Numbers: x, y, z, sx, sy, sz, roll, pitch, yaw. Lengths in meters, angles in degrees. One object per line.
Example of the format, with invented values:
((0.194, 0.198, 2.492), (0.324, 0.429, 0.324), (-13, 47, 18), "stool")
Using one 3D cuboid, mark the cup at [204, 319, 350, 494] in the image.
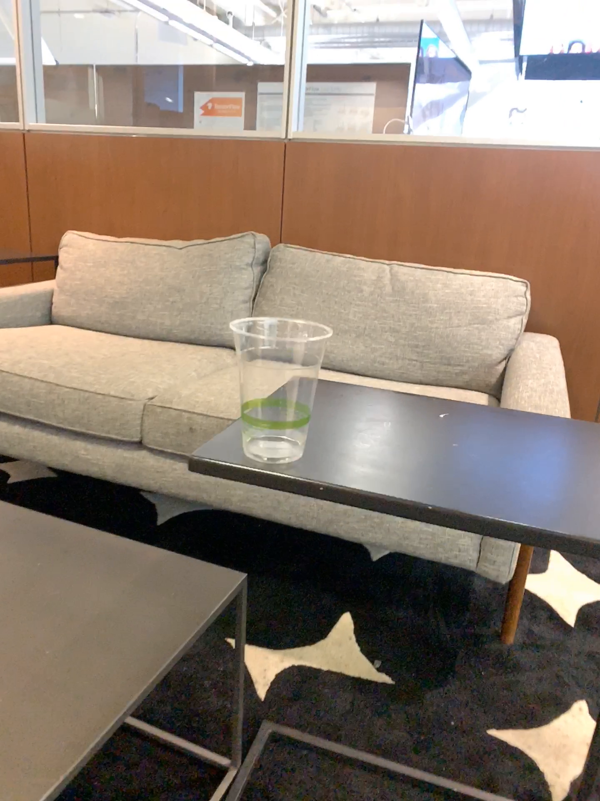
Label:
((-0.021, -0.001, 0.586), (0.100, 0.129, 0.100), (4, 17, -1), "cup")
